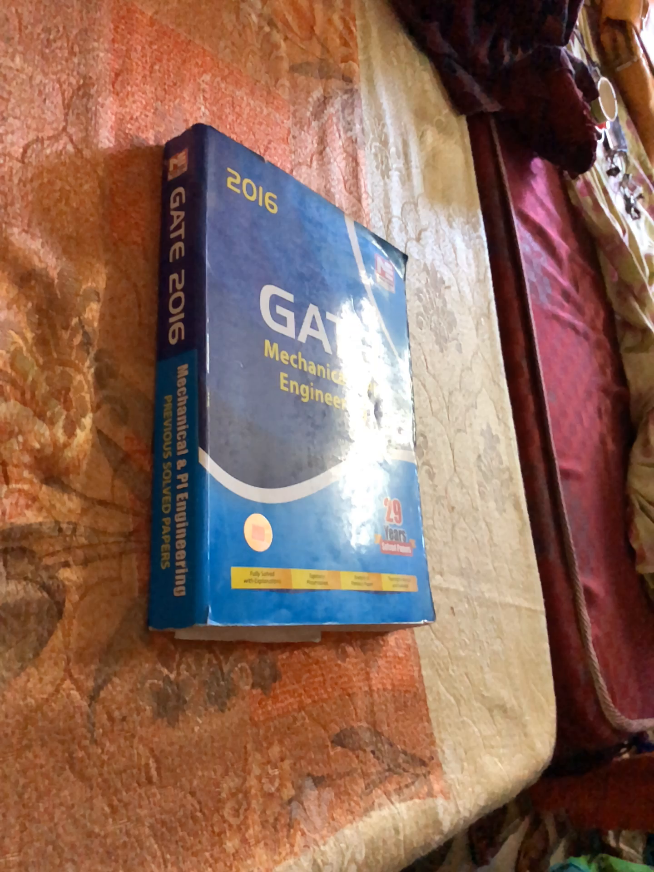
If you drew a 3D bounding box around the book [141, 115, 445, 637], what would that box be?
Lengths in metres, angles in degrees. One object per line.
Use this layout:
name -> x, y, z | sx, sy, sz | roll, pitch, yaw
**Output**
book -> -0.014, -0.022, 0.456 | 0.201, 0.051, 0.280 | 16, 65, -47
